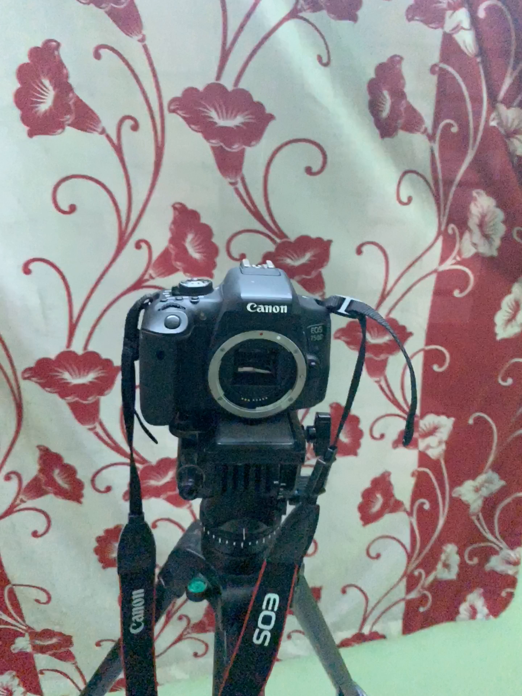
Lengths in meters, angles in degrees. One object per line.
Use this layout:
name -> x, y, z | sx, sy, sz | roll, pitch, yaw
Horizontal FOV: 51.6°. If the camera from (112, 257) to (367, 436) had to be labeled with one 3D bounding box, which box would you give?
camera -> -0.017, -0.005, 0.354 | 0.142, 0.088, 0.085 | 0, 23, -9
